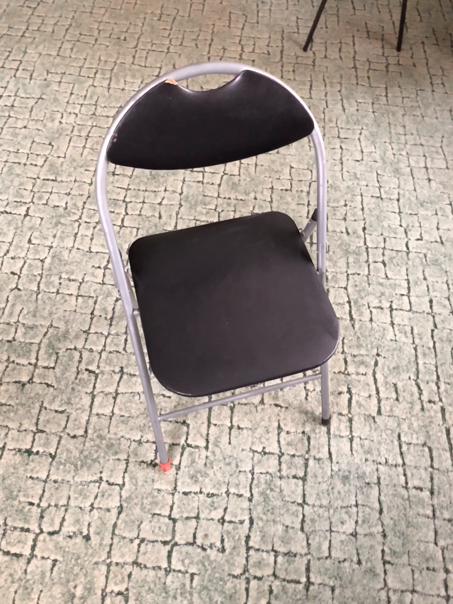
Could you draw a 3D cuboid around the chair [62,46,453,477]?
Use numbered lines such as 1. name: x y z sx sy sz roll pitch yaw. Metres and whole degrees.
1. chair: 0.005 -0.017 1.033 0.456 0.733 0.477 -13 60 -10
